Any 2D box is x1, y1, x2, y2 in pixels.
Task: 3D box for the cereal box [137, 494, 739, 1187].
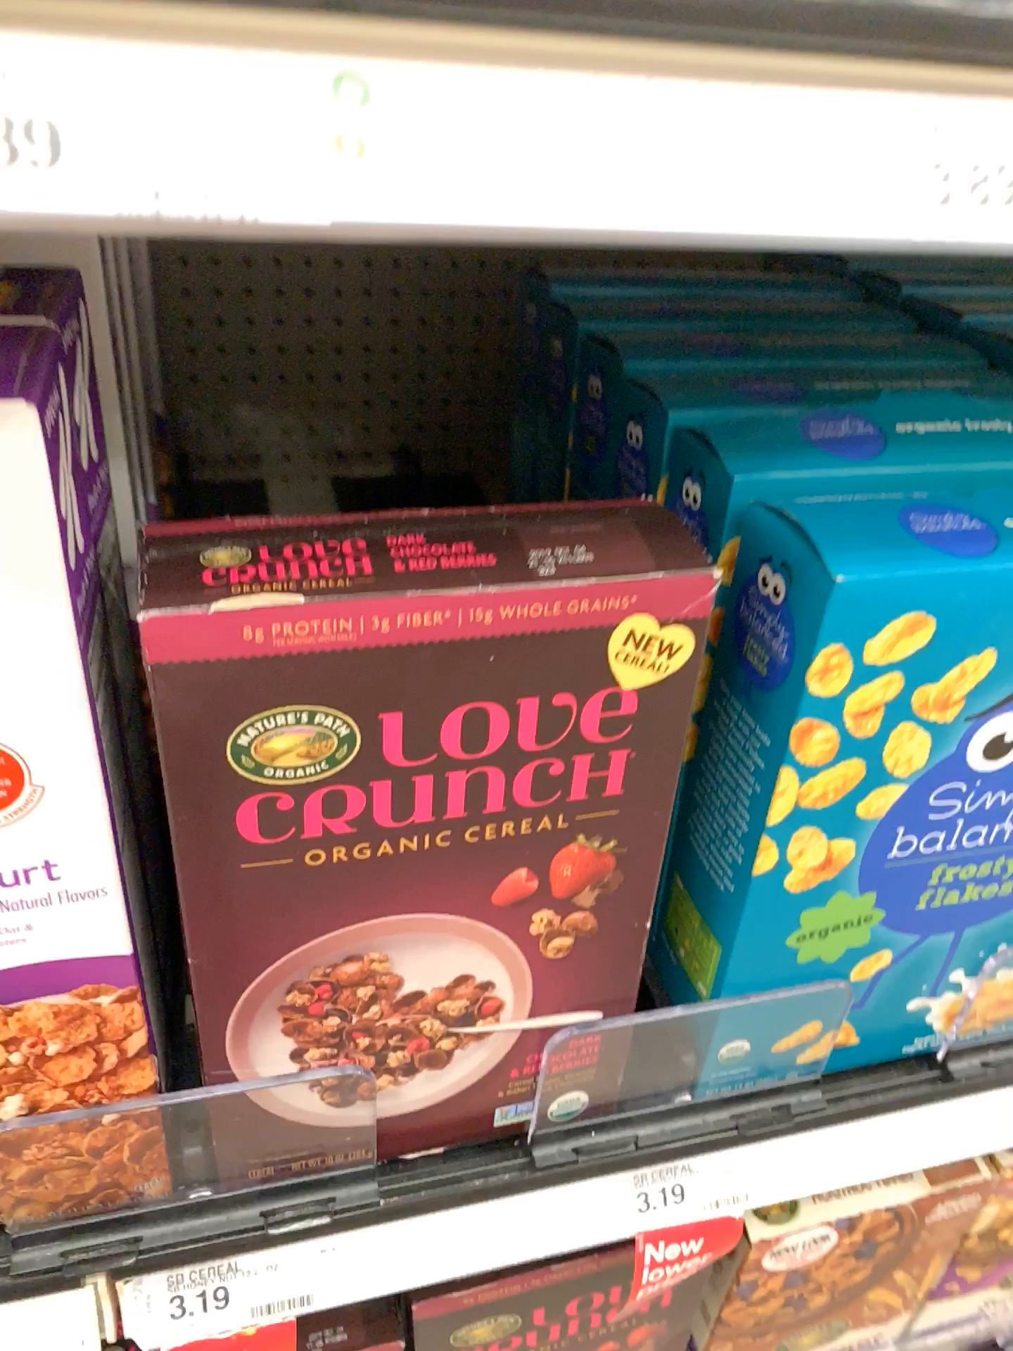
[{"bbox_3d":[-0.027,0.067,0.362,0.160,0.249,0.050,-5,35,-15],"label":"cereal box"}]
